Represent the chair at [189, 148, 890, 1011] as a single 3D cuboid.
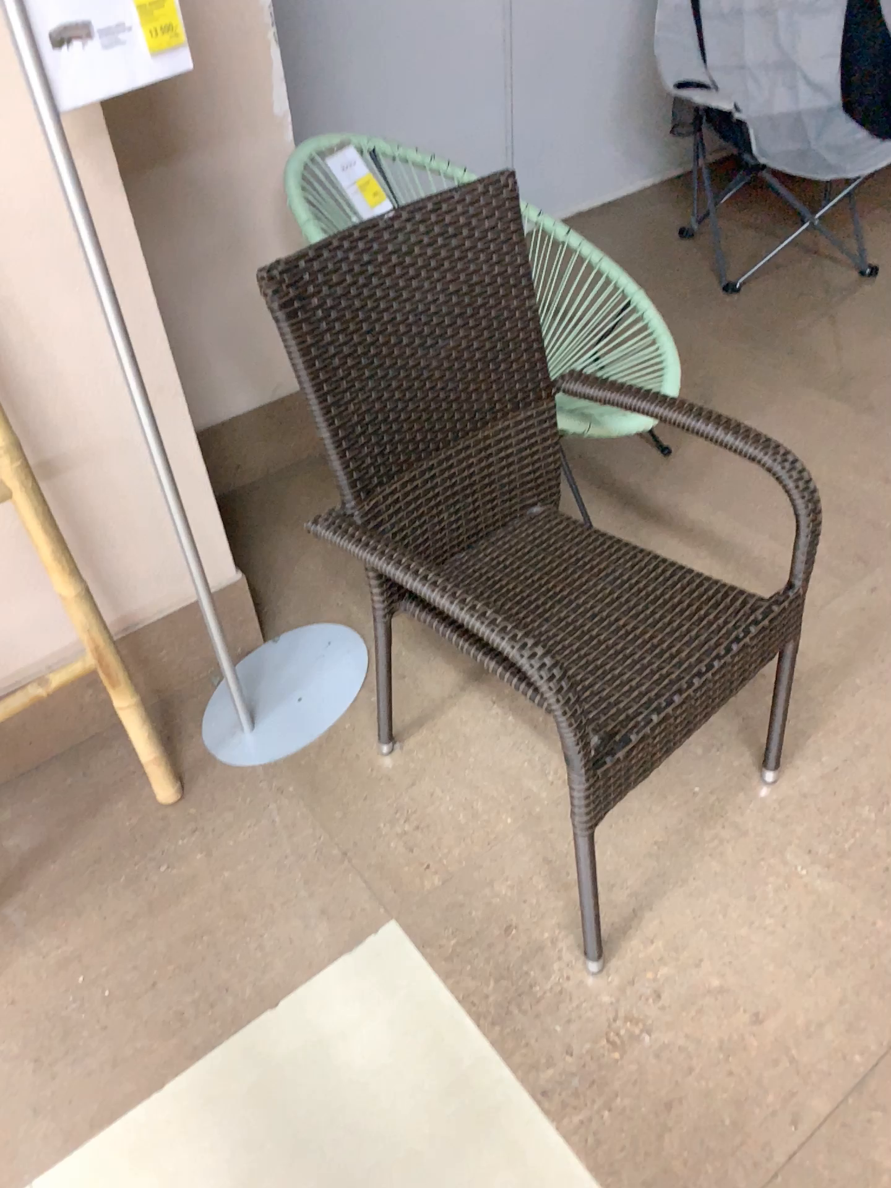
[{"bbox_3d":[0.174,-0.034,1.391,0.621,0.956,0.682,-34,49,-28],"label":"chair"}]
